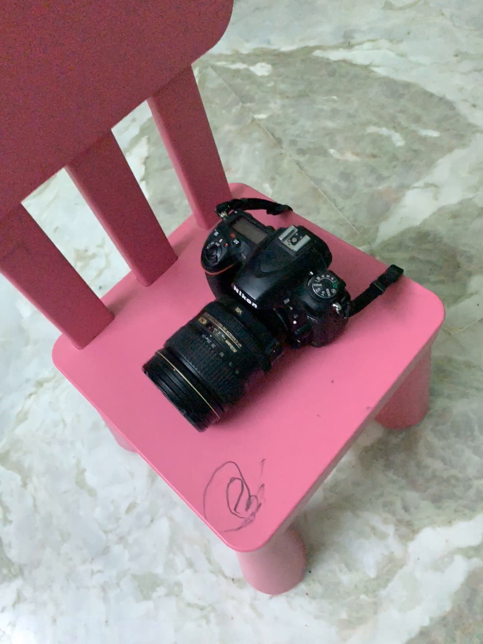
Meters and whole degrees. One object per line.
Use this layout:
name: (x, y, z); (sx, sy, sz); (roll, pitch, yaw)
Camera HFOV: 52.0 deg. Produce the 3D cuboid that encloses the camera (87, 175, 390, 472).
camera: (0.002, -0.004, 0.435); (0.140, 0.080, 0.210); (39, 75, 23)
